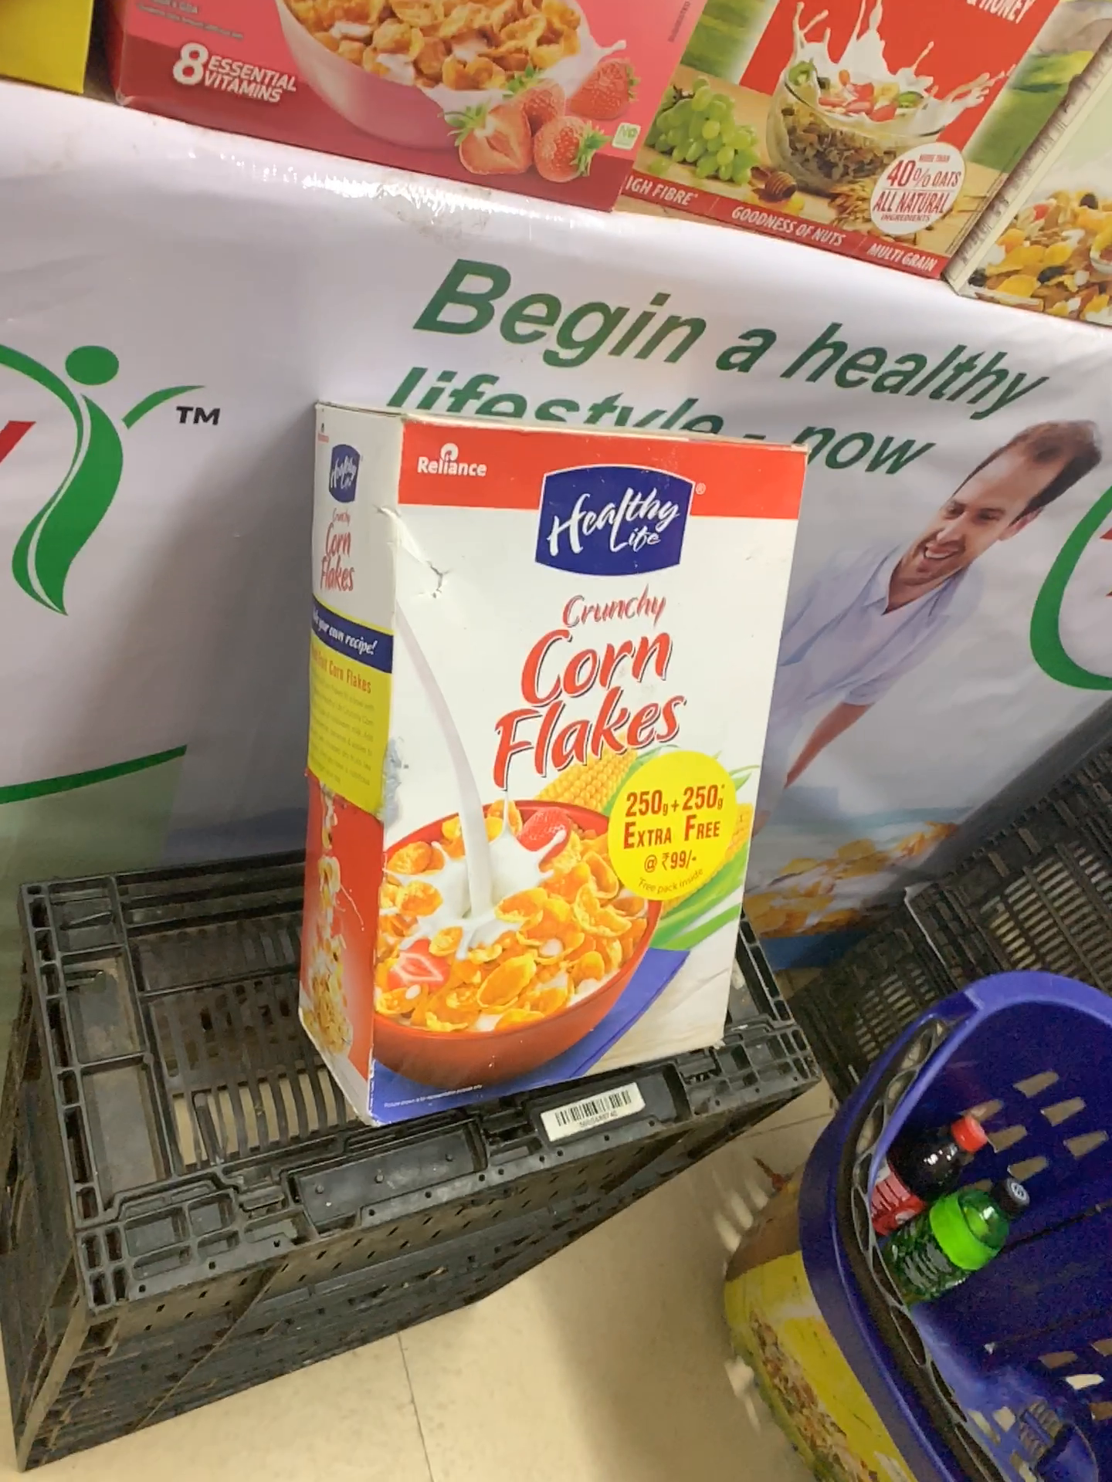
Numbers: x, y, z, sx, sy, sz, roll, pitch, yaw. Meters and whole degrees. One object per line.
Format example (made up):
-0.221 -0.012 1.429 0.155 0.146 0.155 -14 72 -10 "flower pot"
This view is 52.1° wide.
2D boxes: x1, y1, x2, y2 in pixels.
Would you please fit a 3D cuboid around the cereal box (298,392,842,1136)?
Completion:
0.000 0.001 0.503 0.200 0.280 0.100 -4 15 -28 "cereal box"
